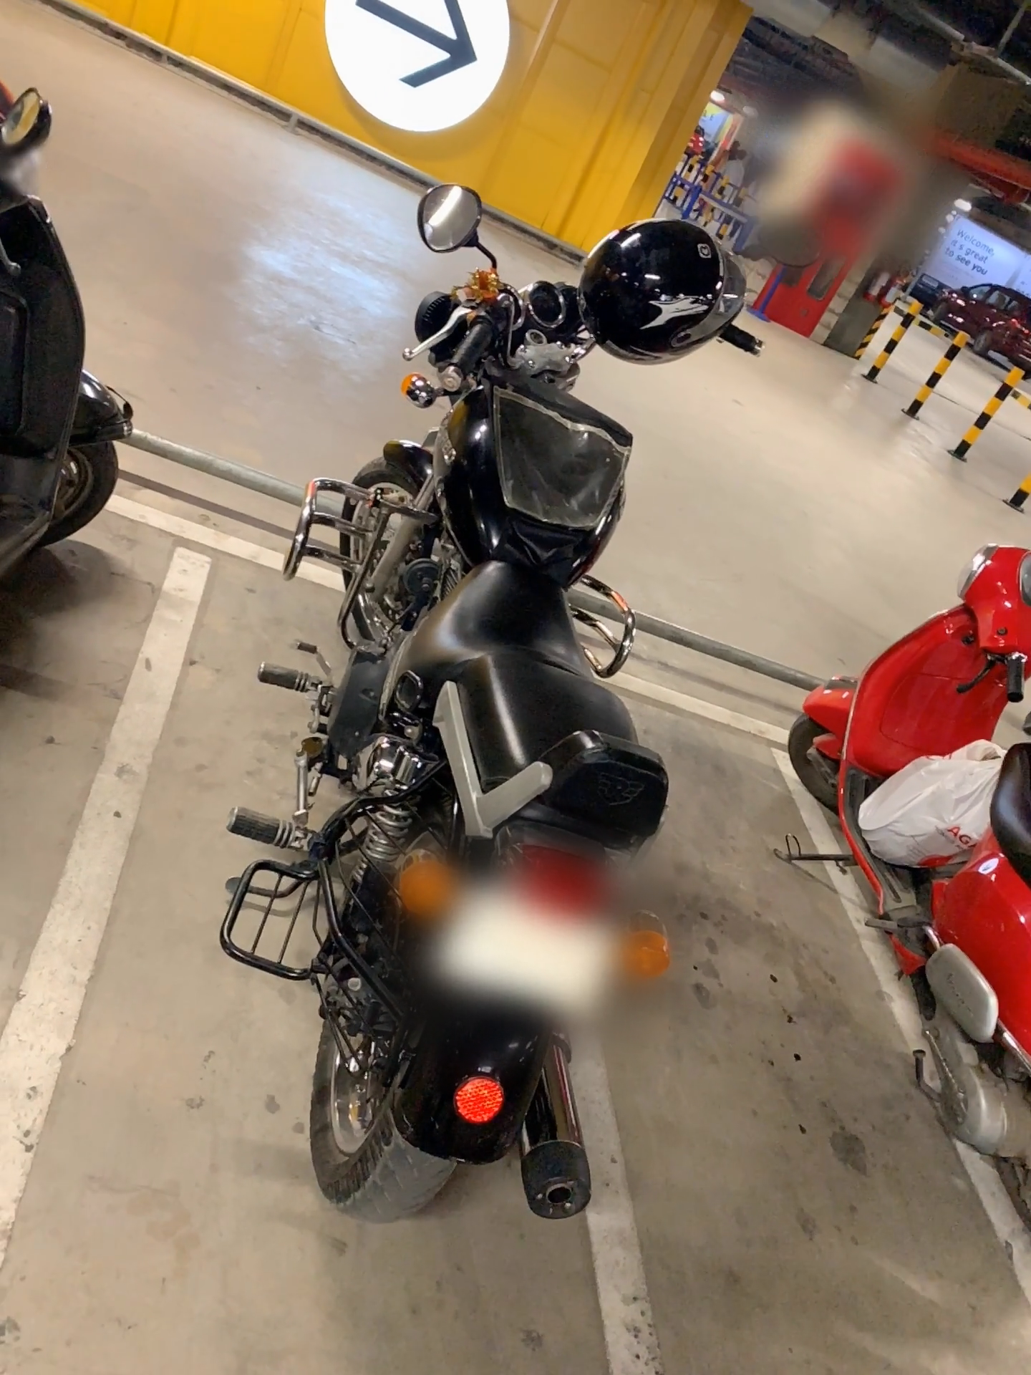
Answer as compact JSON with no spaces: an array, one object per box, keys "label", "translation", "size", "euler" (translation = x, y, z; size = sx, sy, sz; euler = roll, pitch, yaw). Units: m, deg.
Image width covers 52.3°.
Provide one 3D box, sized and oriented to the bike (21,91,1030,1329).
[{"label":"bike","translation":[-0.177,-0.205,2.051],"size":[0.829,1.228,2.084],"euler":[17,30,-21]}]
